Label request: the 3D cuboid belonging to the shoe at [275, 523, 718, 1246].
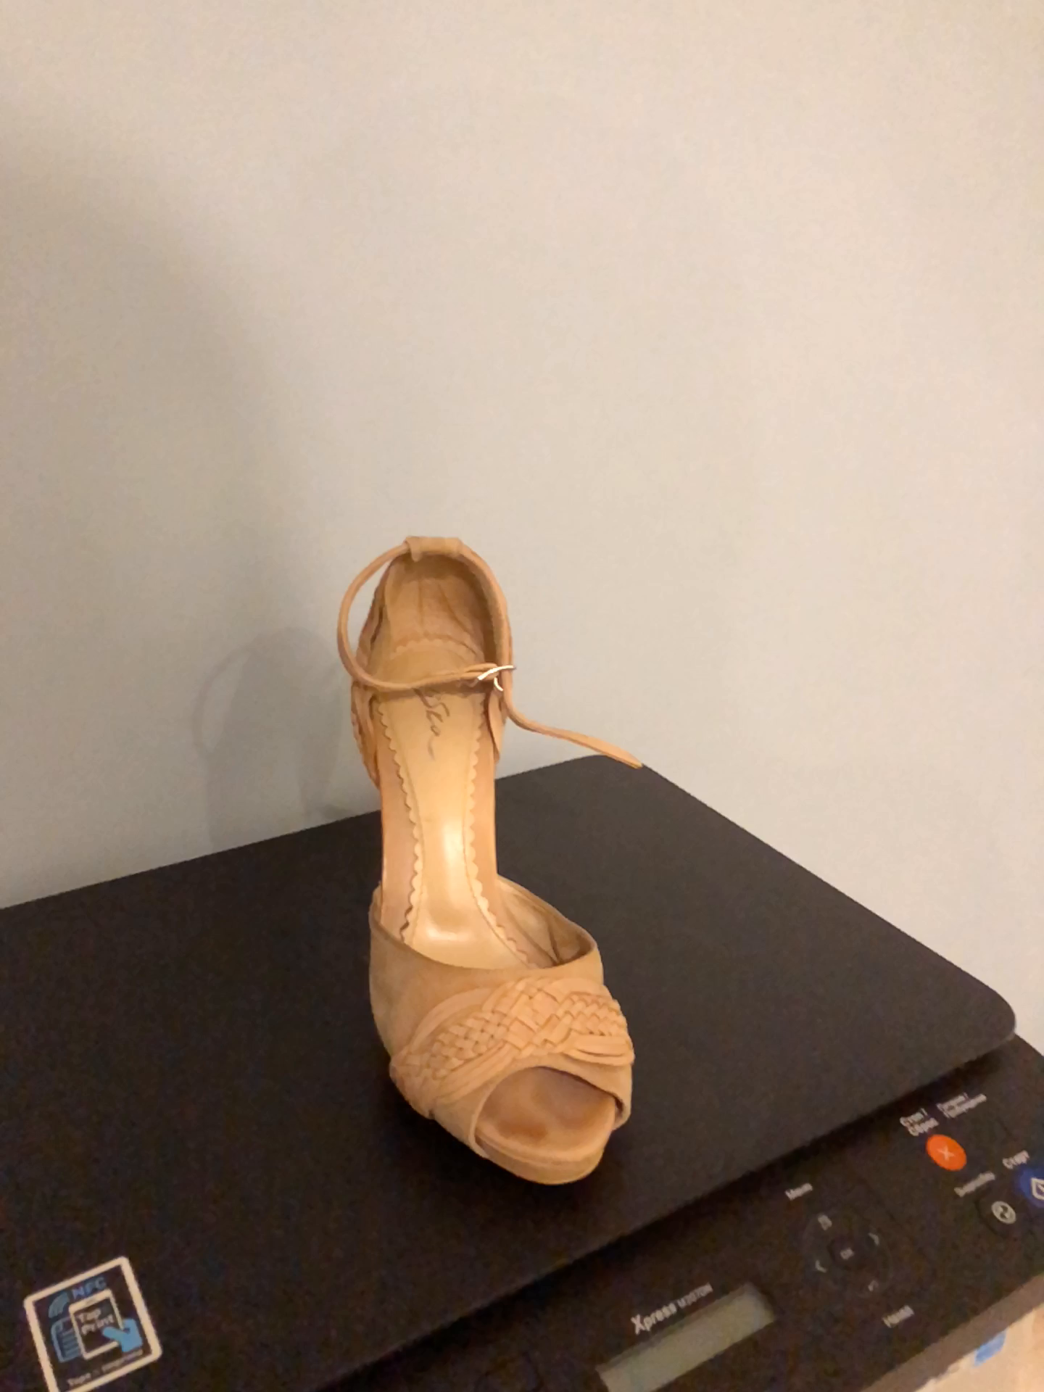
[{"bbox_3d":[-0.026,0.044,0.422,0.090,0.159,0.221,-7,23,-17],"label":"shoe"}]
